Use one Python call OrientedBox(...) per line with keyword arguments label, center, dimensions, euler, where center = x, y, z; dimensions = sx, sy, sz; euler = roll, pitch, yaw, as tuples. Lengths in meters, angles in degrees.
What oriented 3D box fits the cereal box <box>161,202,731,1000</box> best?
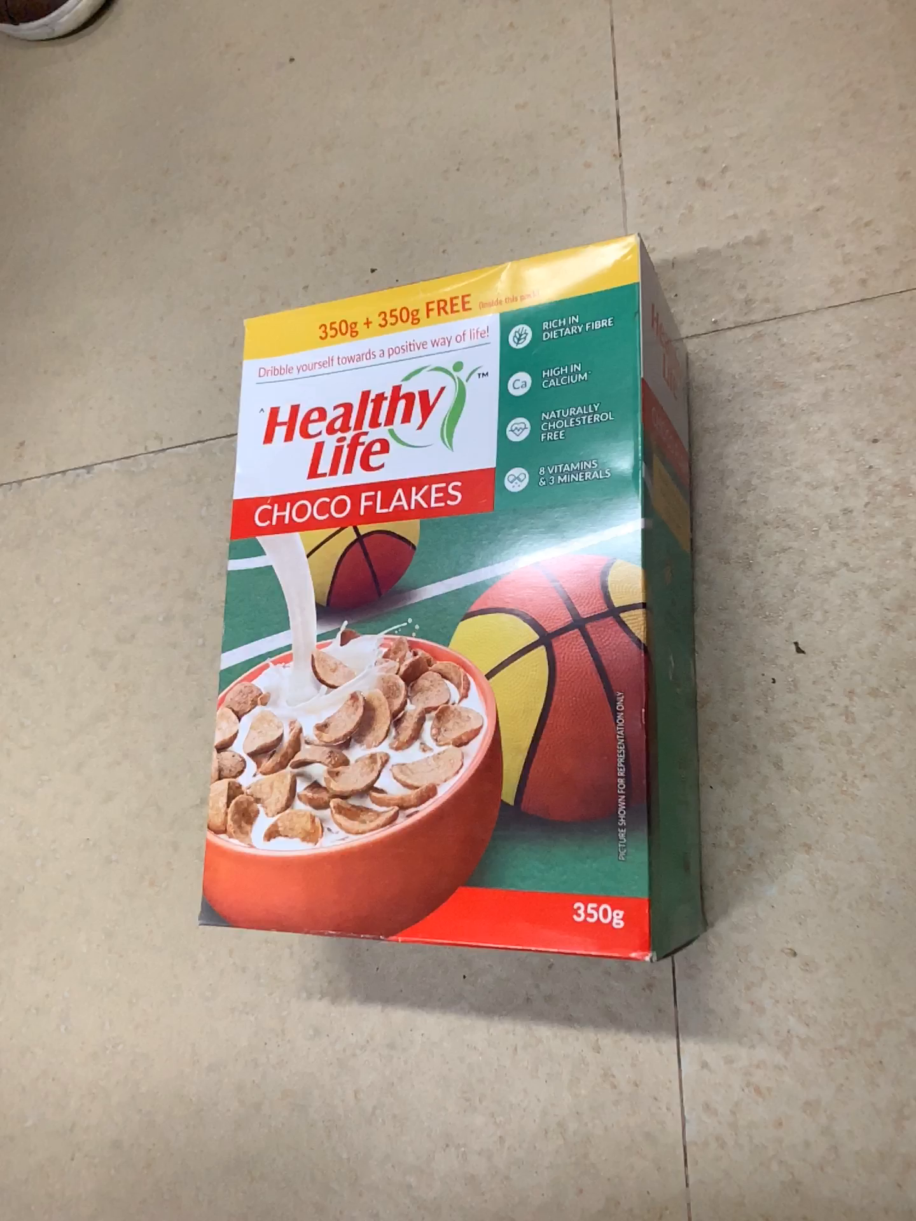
OrientedBox(label="cereal box", center=(0.002, 0.002, 0.406), dimensions=(0.201, 0.110, 0.280), euler=(-4, 75, 23))
